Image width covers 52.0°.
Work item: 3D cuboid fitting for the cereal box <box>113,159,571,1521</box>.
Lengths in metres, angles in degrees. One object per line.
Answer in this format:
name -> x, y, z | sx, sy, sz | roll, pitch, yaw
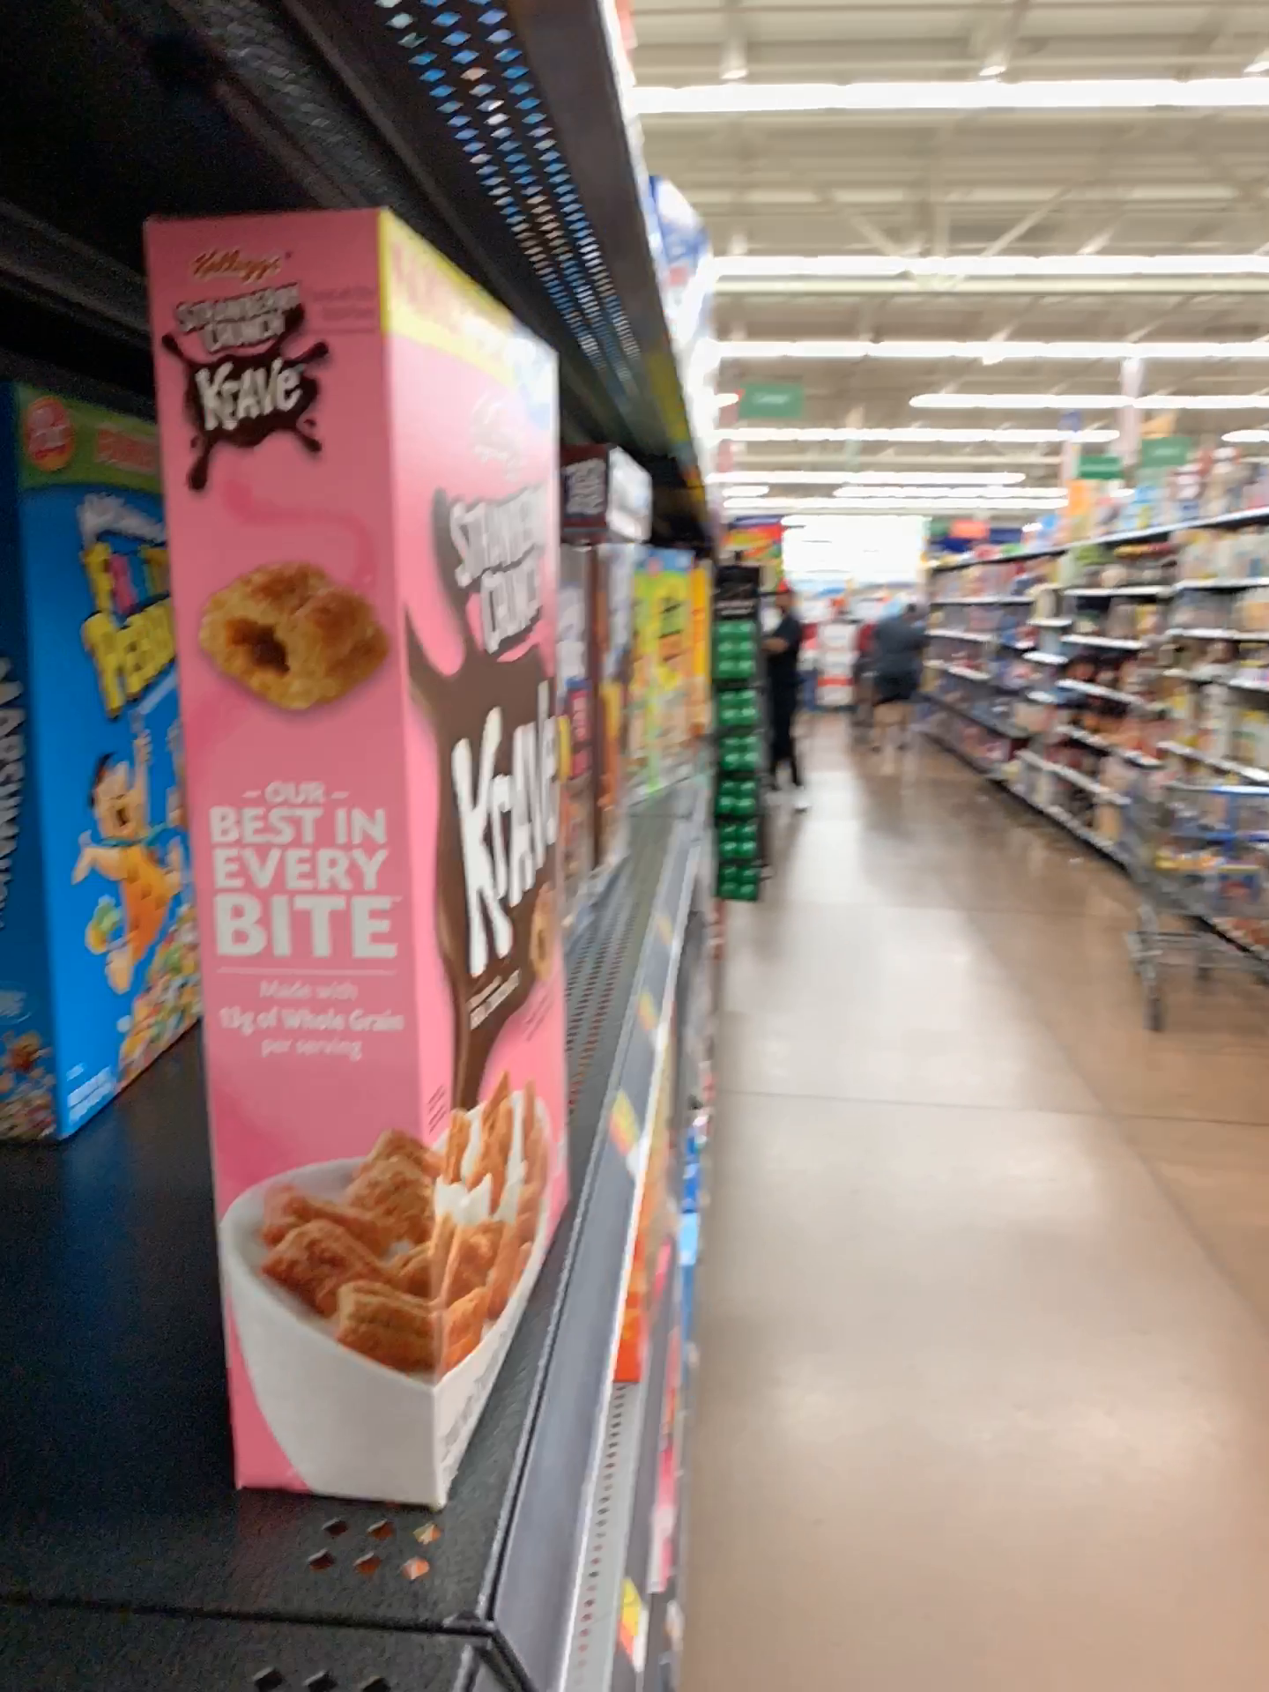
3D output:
cereal box -> -0.071, -0.005, 0.412 | 0.060, 0.329, 0.200 | 0, 10, 7
